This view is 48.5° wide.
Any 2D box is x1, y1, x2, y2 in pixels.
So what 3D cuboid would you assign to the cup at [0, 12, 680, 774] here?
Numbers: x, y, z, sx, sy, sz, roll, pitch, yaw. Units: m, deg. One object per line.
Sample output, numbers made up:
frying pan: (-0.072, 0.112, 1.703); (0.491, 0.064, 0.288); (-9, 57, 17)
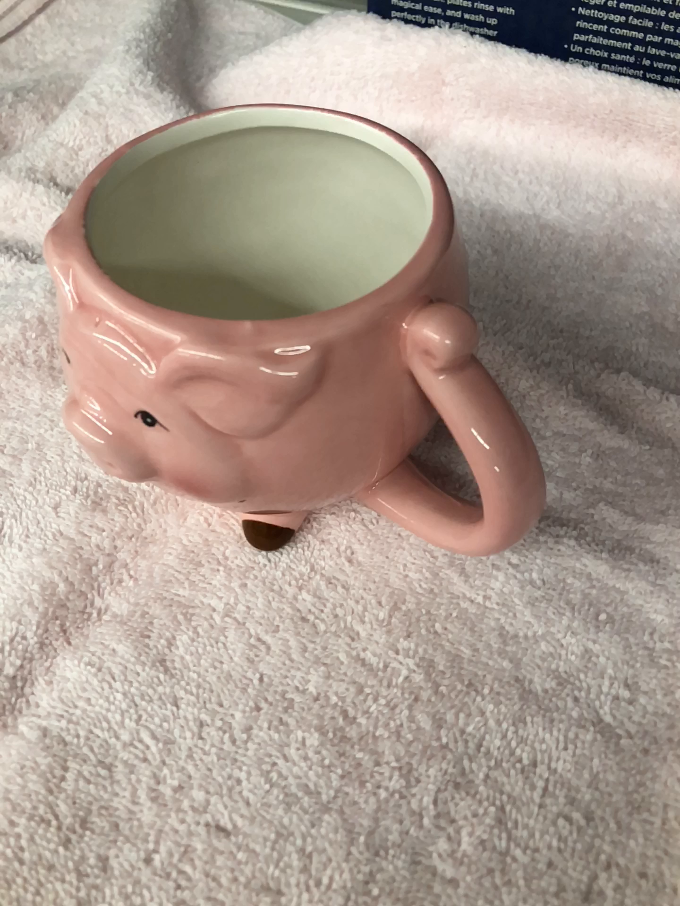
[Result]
cup: (-0.011, -0.023, 0.192); (0.100, 0.090, 0.151); (-40, 63, -23)
